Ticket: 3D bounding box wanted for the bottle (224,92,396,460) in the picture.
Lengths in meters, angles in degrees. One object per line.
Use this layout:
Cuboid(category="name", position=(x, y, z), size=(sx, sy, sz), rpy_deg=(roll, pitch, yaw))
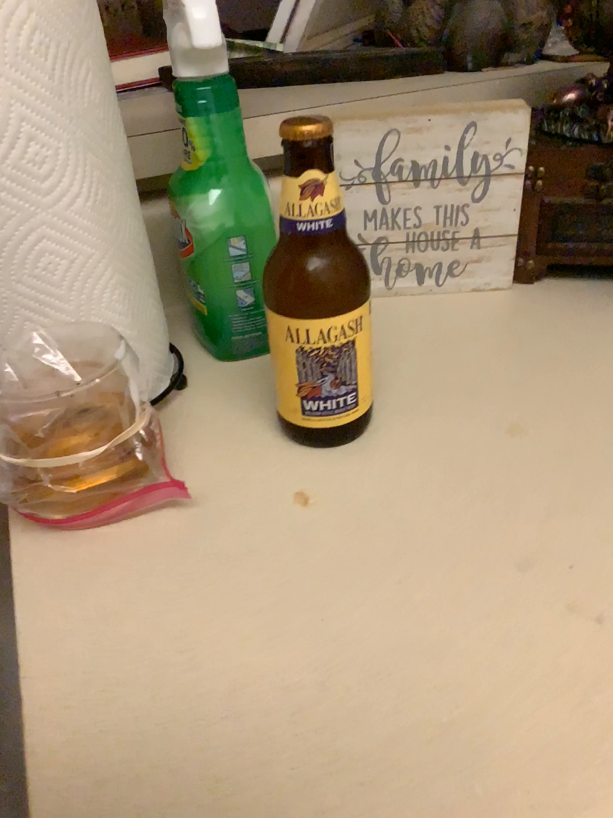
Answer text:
Cuboid(category="bottle", position=(0.005, -0.074, 0.403), size=(0.080, 0.190, 0.080), rpy_deg=(-4, 33, 2))
